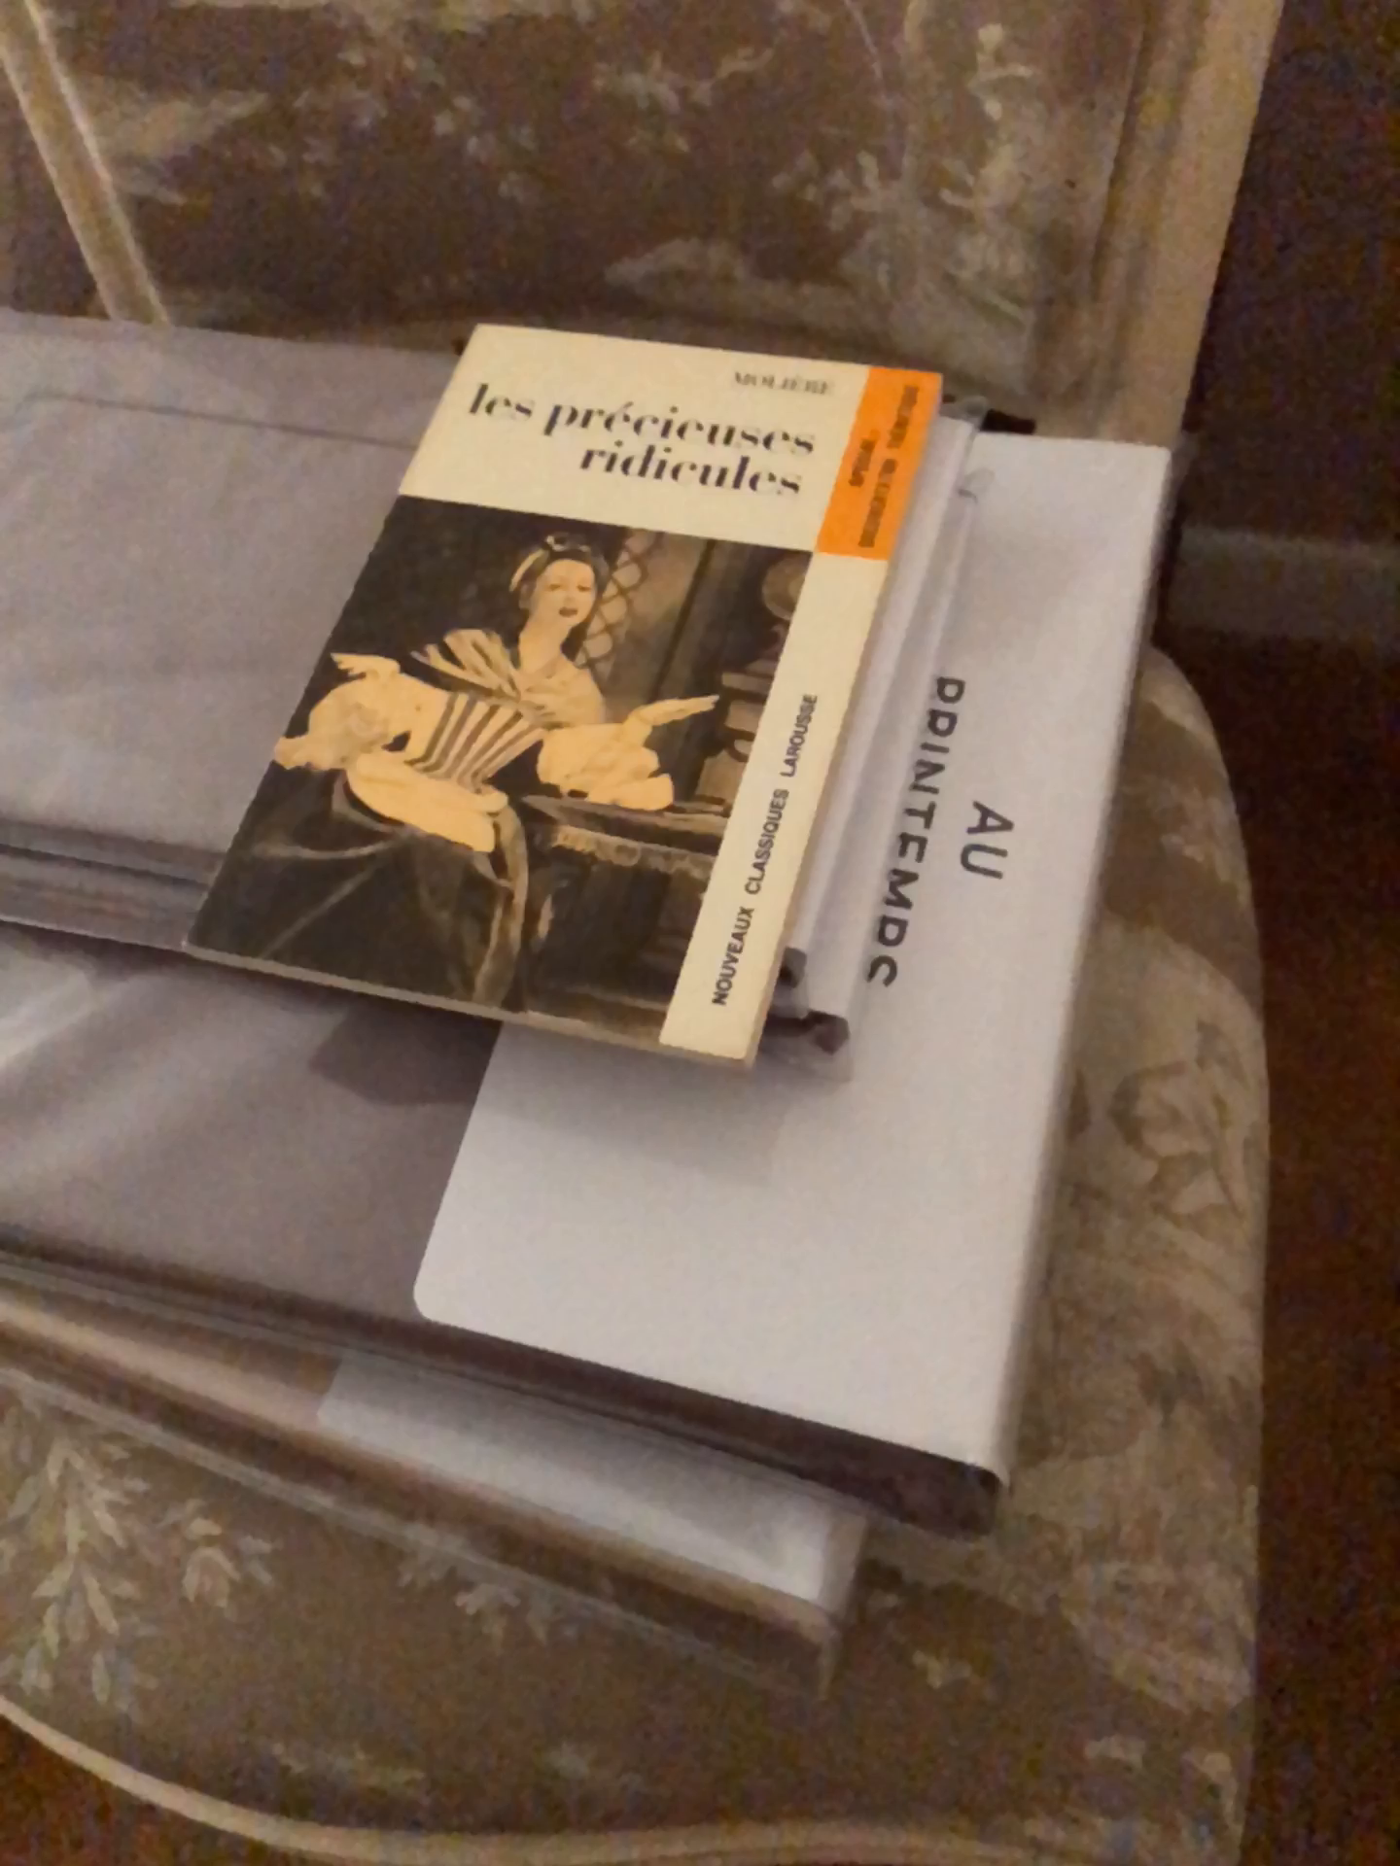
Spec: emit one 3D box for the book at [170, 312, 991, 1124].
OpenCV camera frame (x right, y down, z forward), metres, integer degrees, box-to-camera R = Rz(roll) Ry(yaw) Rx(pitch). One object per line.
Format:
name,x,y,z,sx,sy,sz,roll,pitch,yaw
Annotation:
book,-0.016,-0.058,0.325,0.120,0.020,0.181,10,61,14
